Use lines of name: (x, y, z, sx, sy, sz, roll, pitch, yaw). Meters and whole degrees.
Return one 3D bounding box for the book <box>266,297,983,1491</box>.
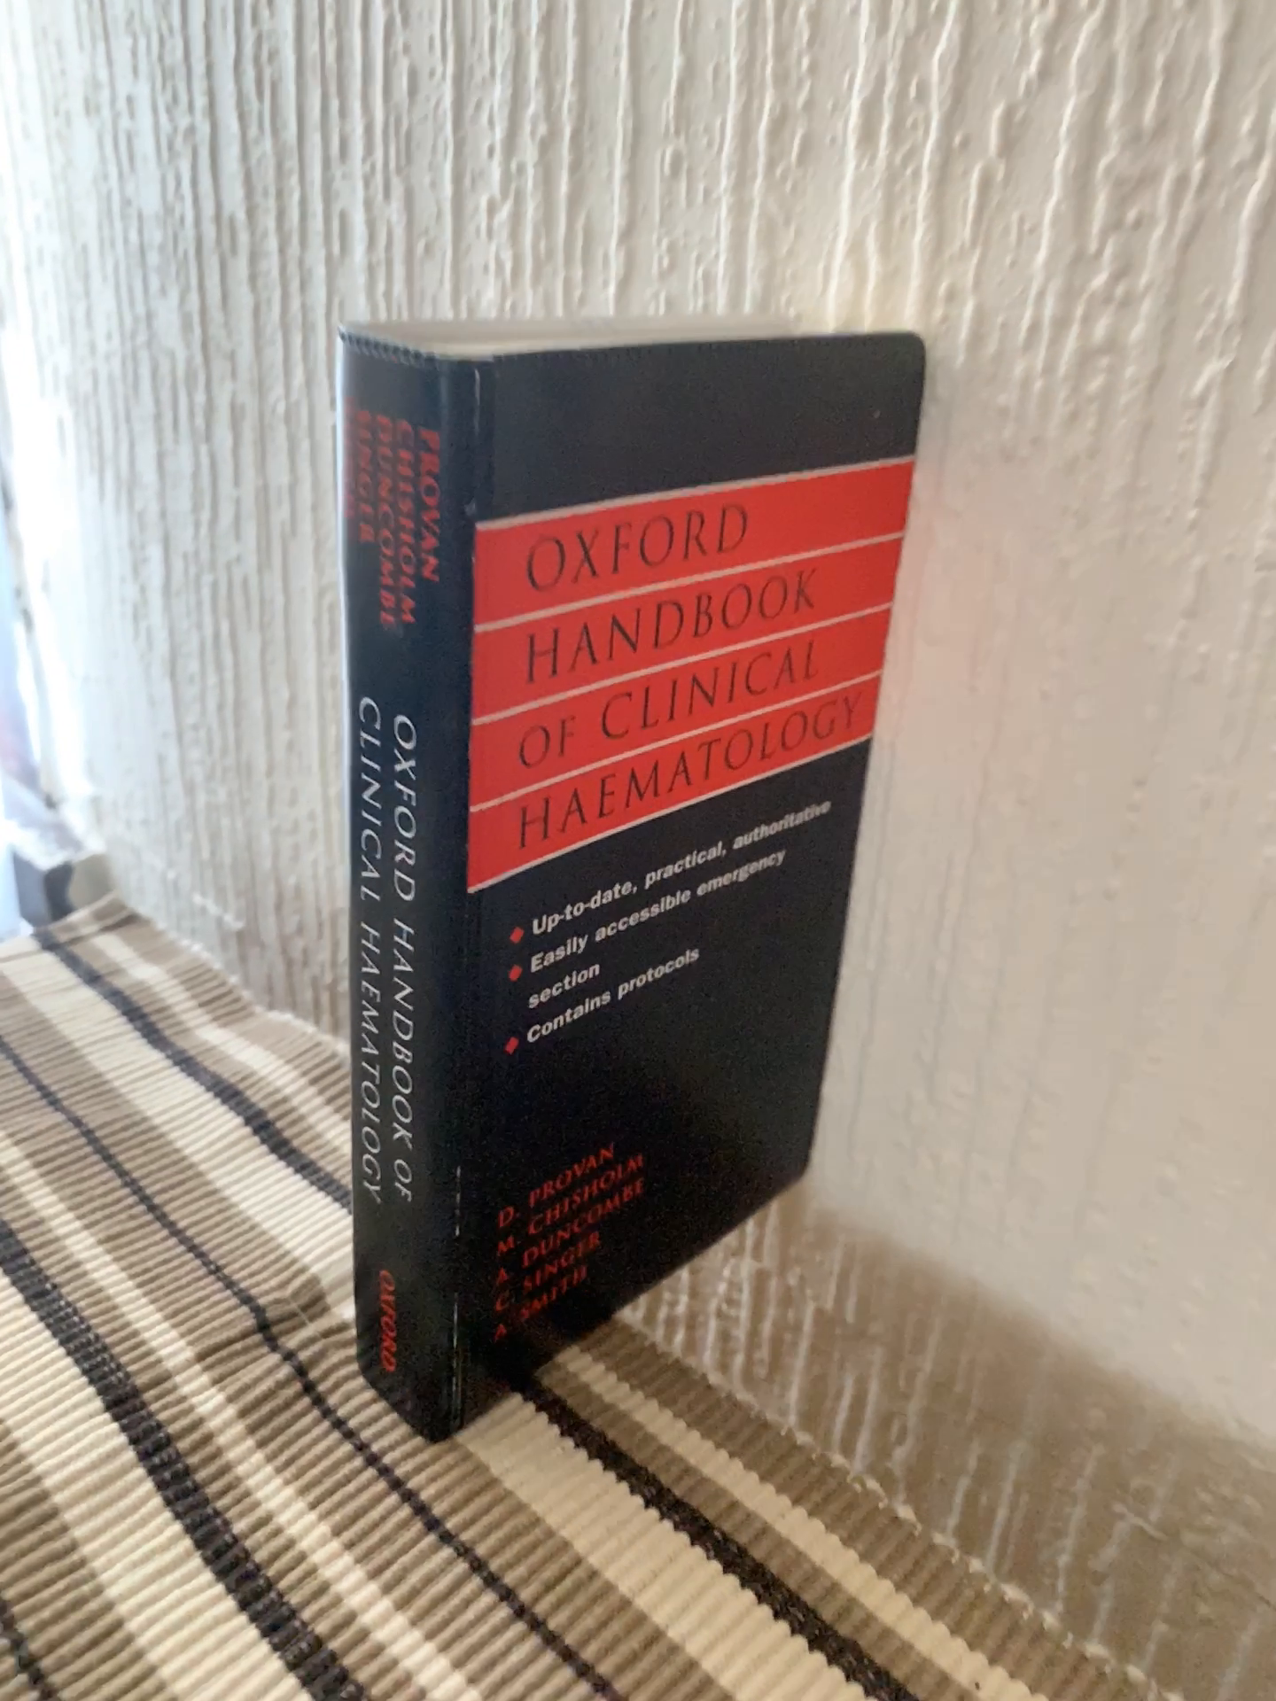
book: (-0.001, 0.003, 0.245, 0.040, 0.188, 0.121, 24, 33, 34)
